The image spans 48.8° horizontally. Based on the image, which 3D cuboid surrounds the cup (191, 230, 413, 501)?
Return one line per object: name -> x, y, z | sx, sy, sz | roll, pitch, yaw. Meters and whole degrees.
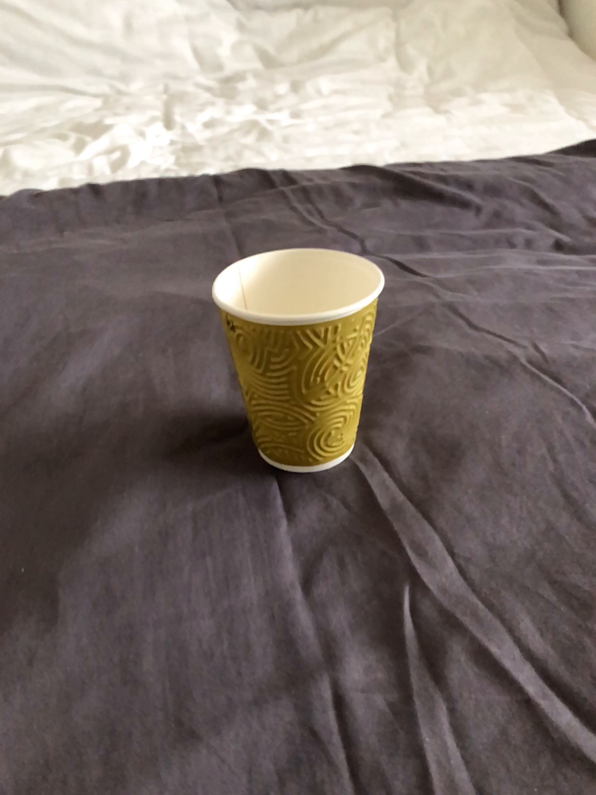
cup -> 0.001, -0.022, 0.361 | 0.098, 0.100, 0.108 | -2, 33, 1
